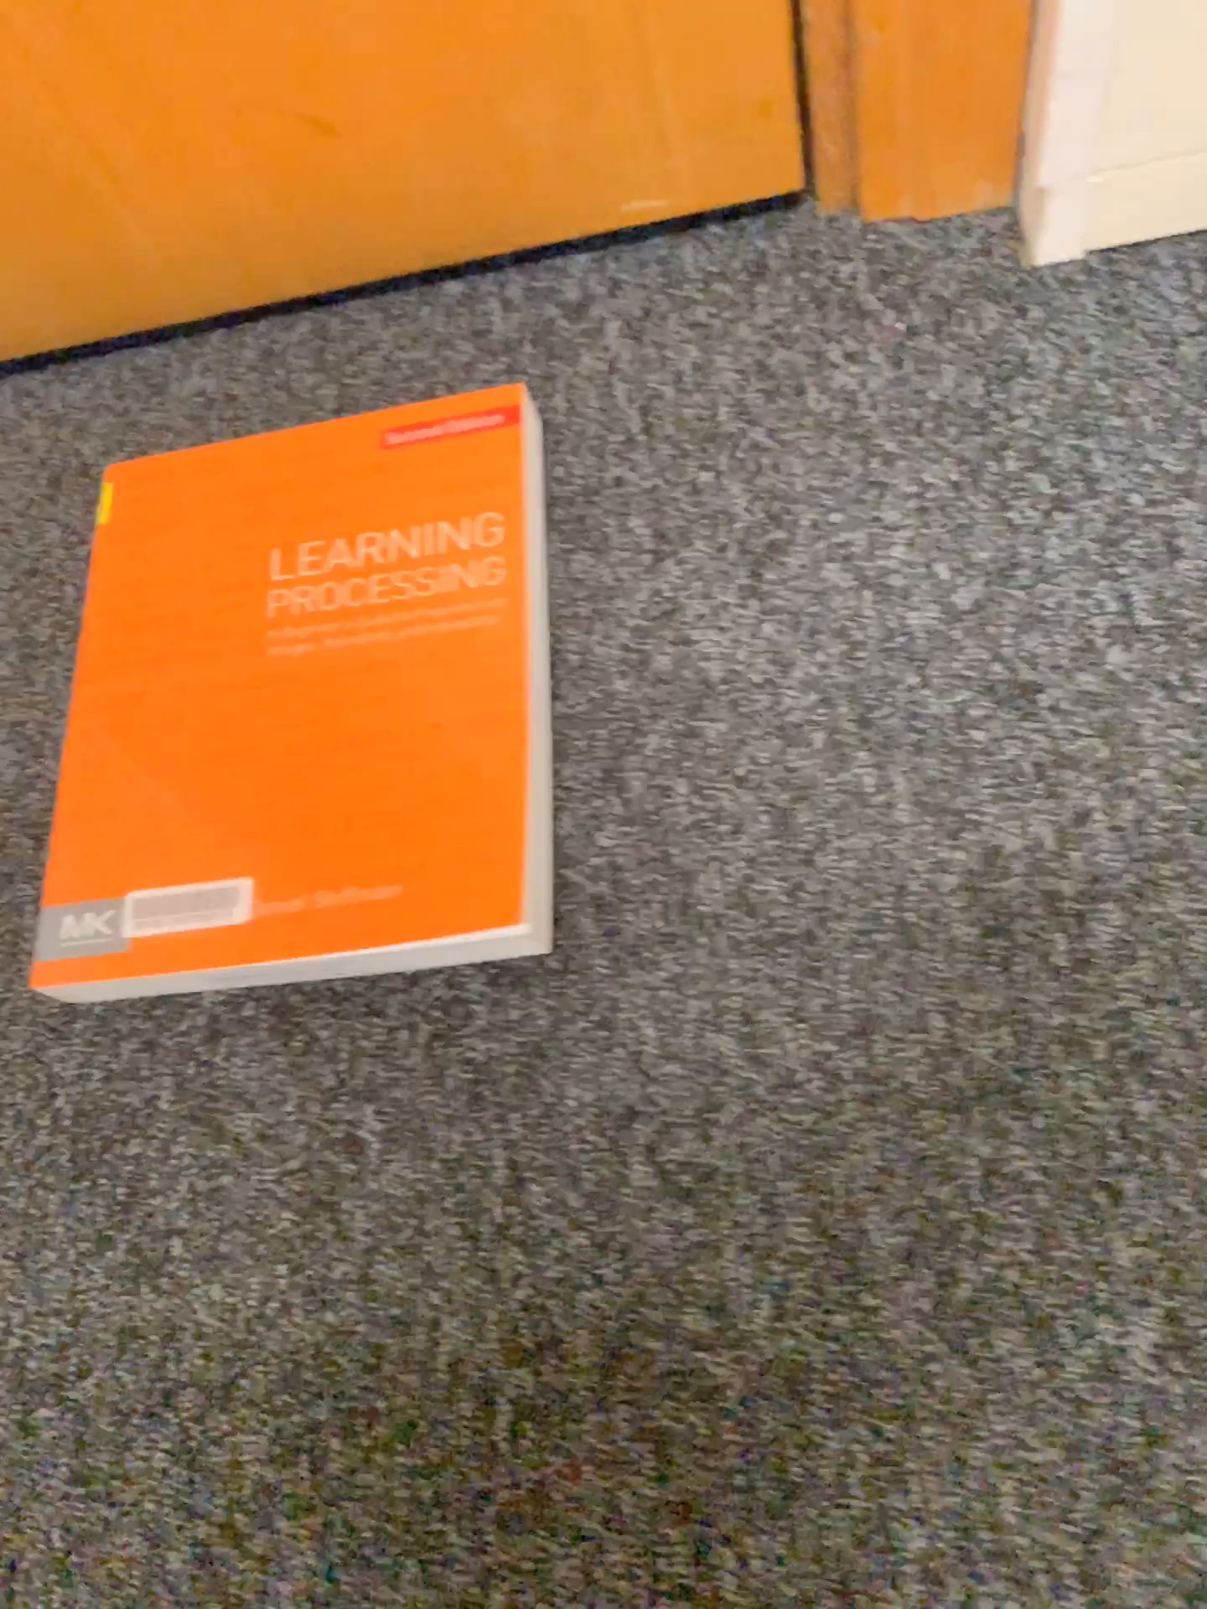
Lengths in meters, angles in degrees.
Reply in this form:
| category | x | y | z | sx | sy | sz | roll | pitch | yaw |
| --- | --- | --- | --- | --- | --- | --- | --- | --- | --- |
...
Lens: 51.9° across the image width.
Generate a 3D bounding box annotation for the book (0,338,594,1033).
| category | x | y | z | sx | sy | sz | roll | pitch | yaw |
| --- | --- | --- | --- | --- | --- | --- | --- | --- | --- |
| book | -0.116 | -0.051 | 0.495 | 0.210 | 0.040 | 0.261 | -7 | 66 | 11 |
